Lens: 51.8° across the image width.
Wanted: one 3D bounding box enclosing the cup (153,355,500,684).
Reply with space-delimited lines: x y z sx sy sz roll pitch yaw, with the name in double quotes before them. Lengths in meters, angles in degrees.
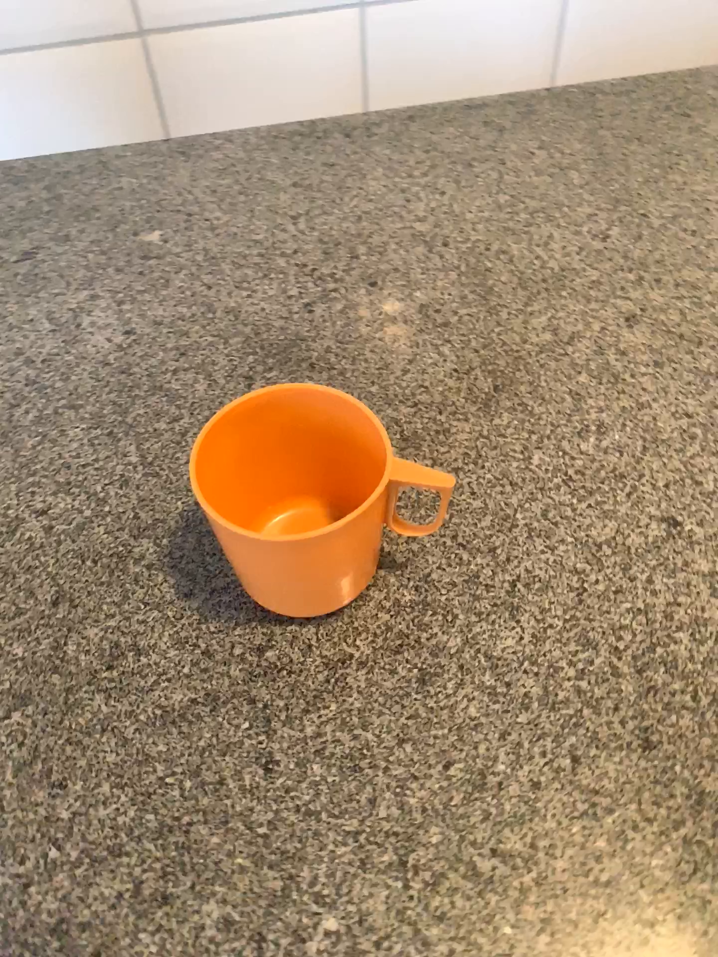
"cup" -0.007 0.018 0.309 0.110 0.090 0.080 12 54 11
